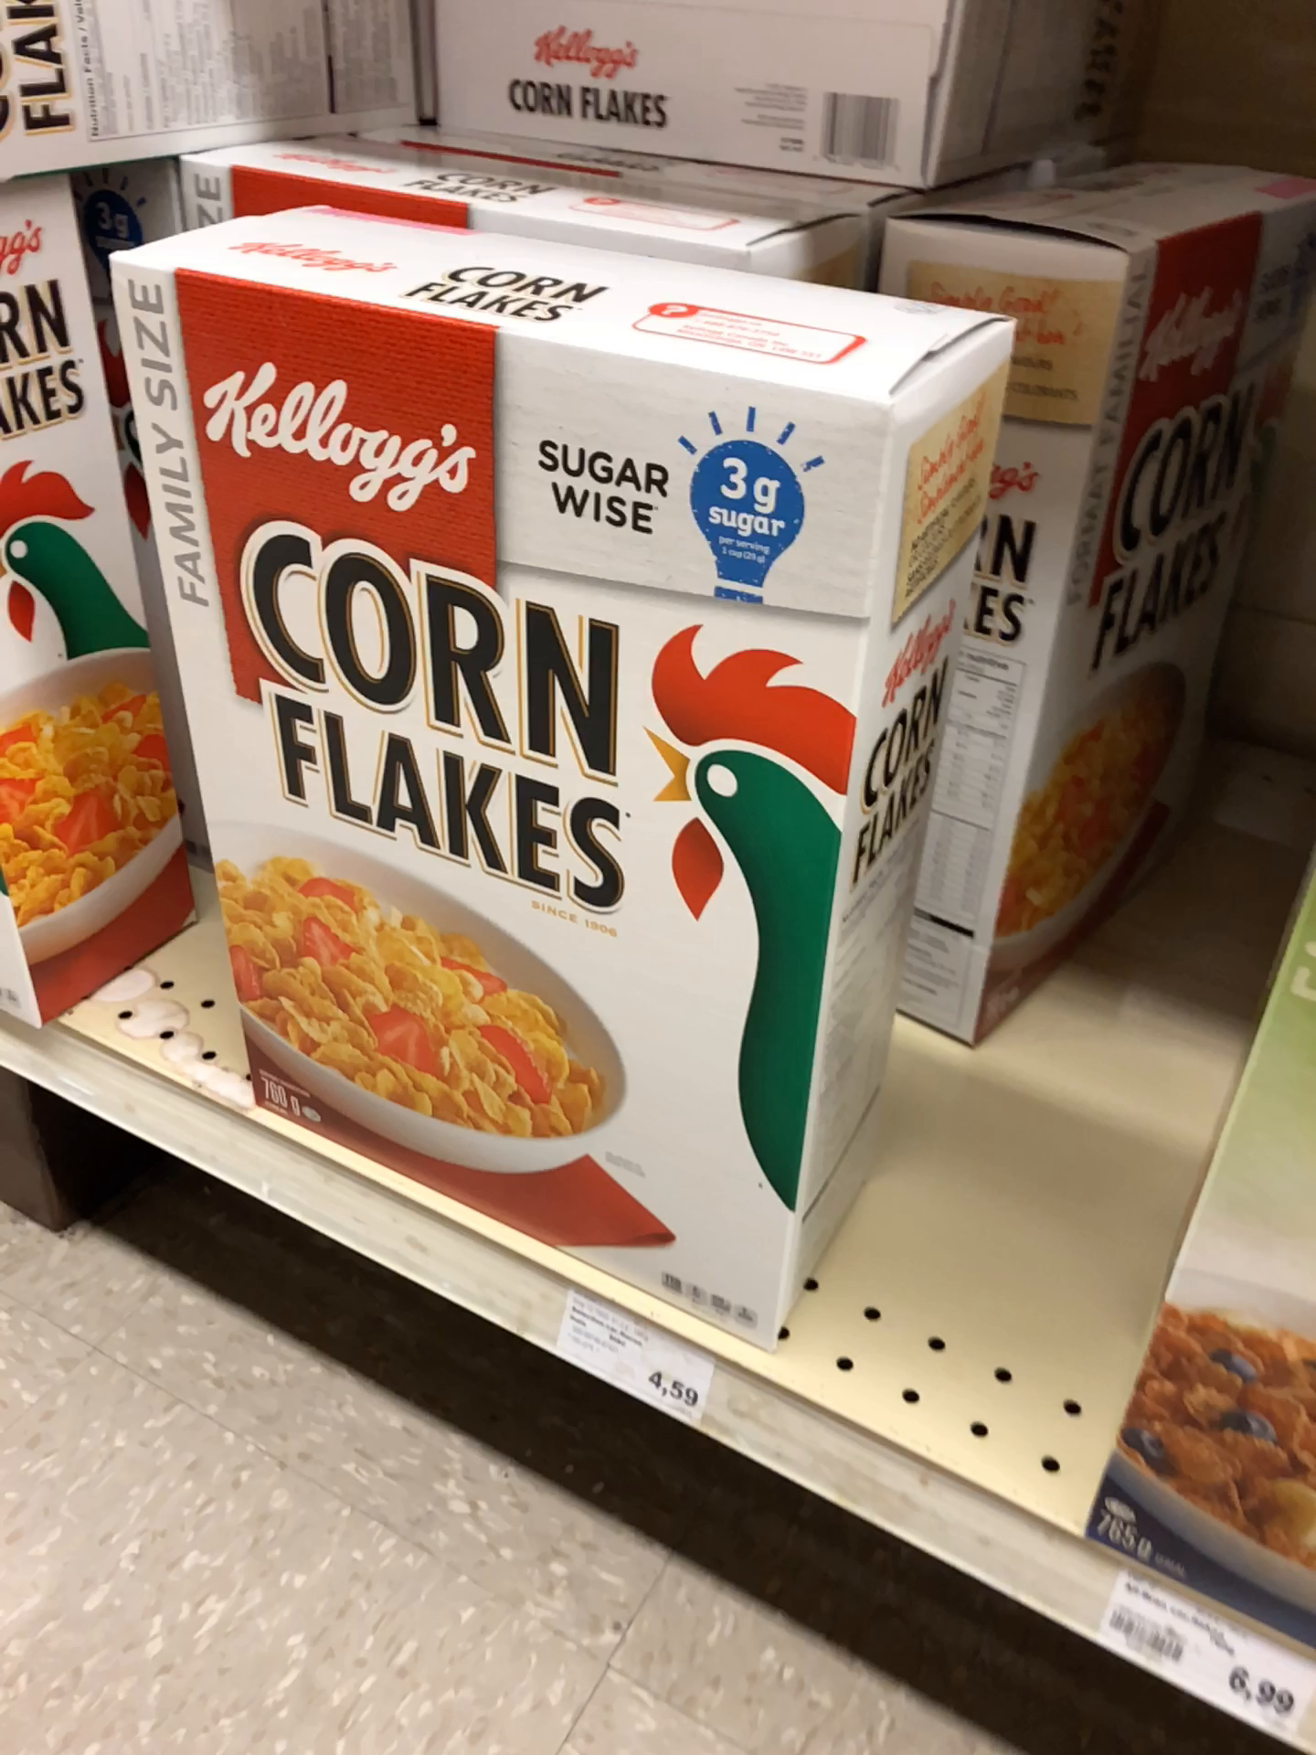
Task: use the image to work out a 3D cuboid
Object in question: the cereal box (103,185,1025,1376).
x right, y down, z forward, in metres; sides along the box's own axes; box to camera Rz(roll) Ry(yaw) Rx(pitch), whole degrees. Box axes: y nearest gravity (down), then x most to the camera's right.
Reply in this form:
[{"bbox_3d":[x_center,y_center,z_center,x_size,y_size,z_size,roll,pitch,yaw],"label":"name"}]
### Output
[{"bbox_3d":[-0.042,-0.029,0.553,0.271,0.387,0.101,18,36,21],"label":"cereal box"}]
